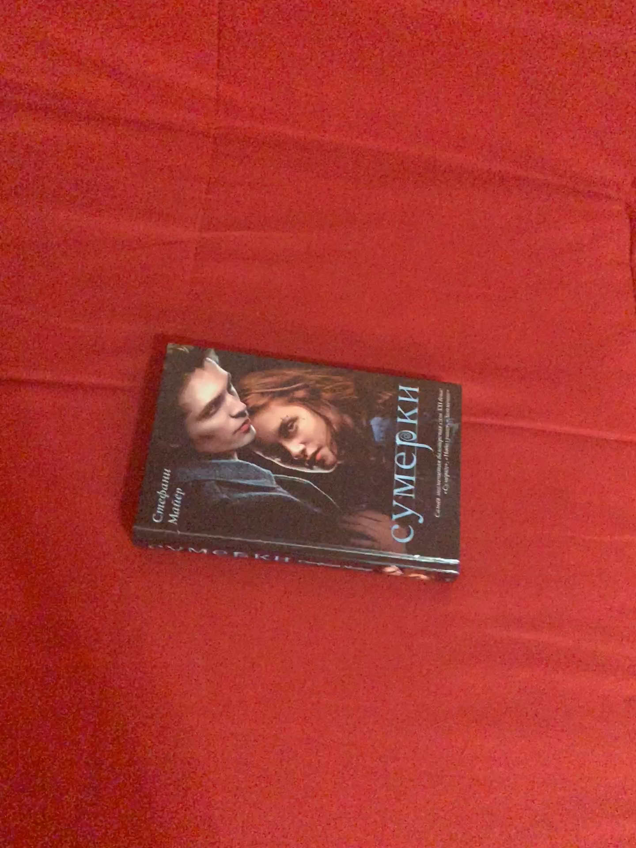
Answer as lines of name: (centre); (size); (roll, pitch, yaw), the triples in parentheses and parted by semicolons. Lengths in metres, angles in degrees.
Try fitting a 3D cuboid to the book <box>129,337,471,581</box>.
book: (-0.006, 0.026, 0.436); (0.209, 0.036, 0.134); (8, 74, -6)
